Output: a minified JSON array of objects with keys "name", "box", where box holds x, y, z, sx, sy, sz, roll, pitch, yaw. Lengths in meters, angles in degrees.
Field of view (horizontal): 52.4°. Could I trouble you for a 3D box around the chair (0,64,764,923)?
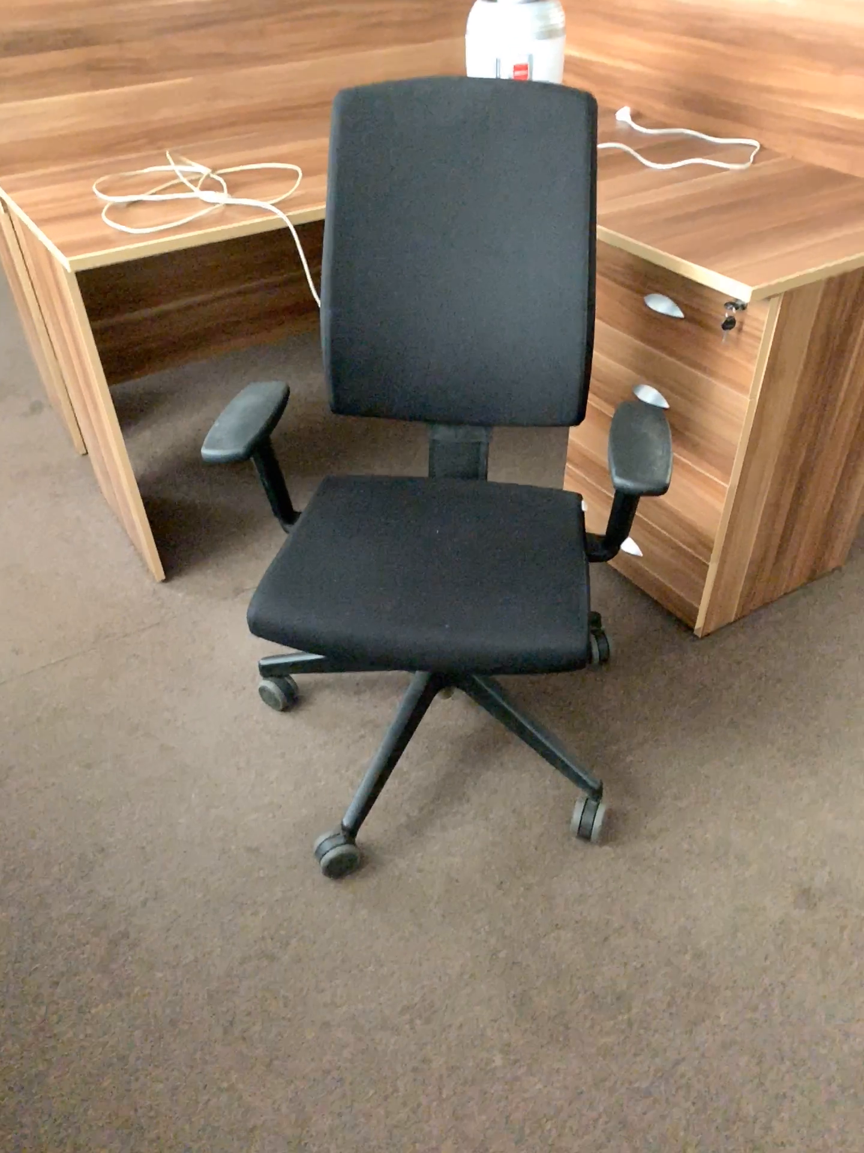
[{"name":"chair","box":[-0.014,-0.149,1.279,0.670,0.915,0.794,4,40,8]}]
